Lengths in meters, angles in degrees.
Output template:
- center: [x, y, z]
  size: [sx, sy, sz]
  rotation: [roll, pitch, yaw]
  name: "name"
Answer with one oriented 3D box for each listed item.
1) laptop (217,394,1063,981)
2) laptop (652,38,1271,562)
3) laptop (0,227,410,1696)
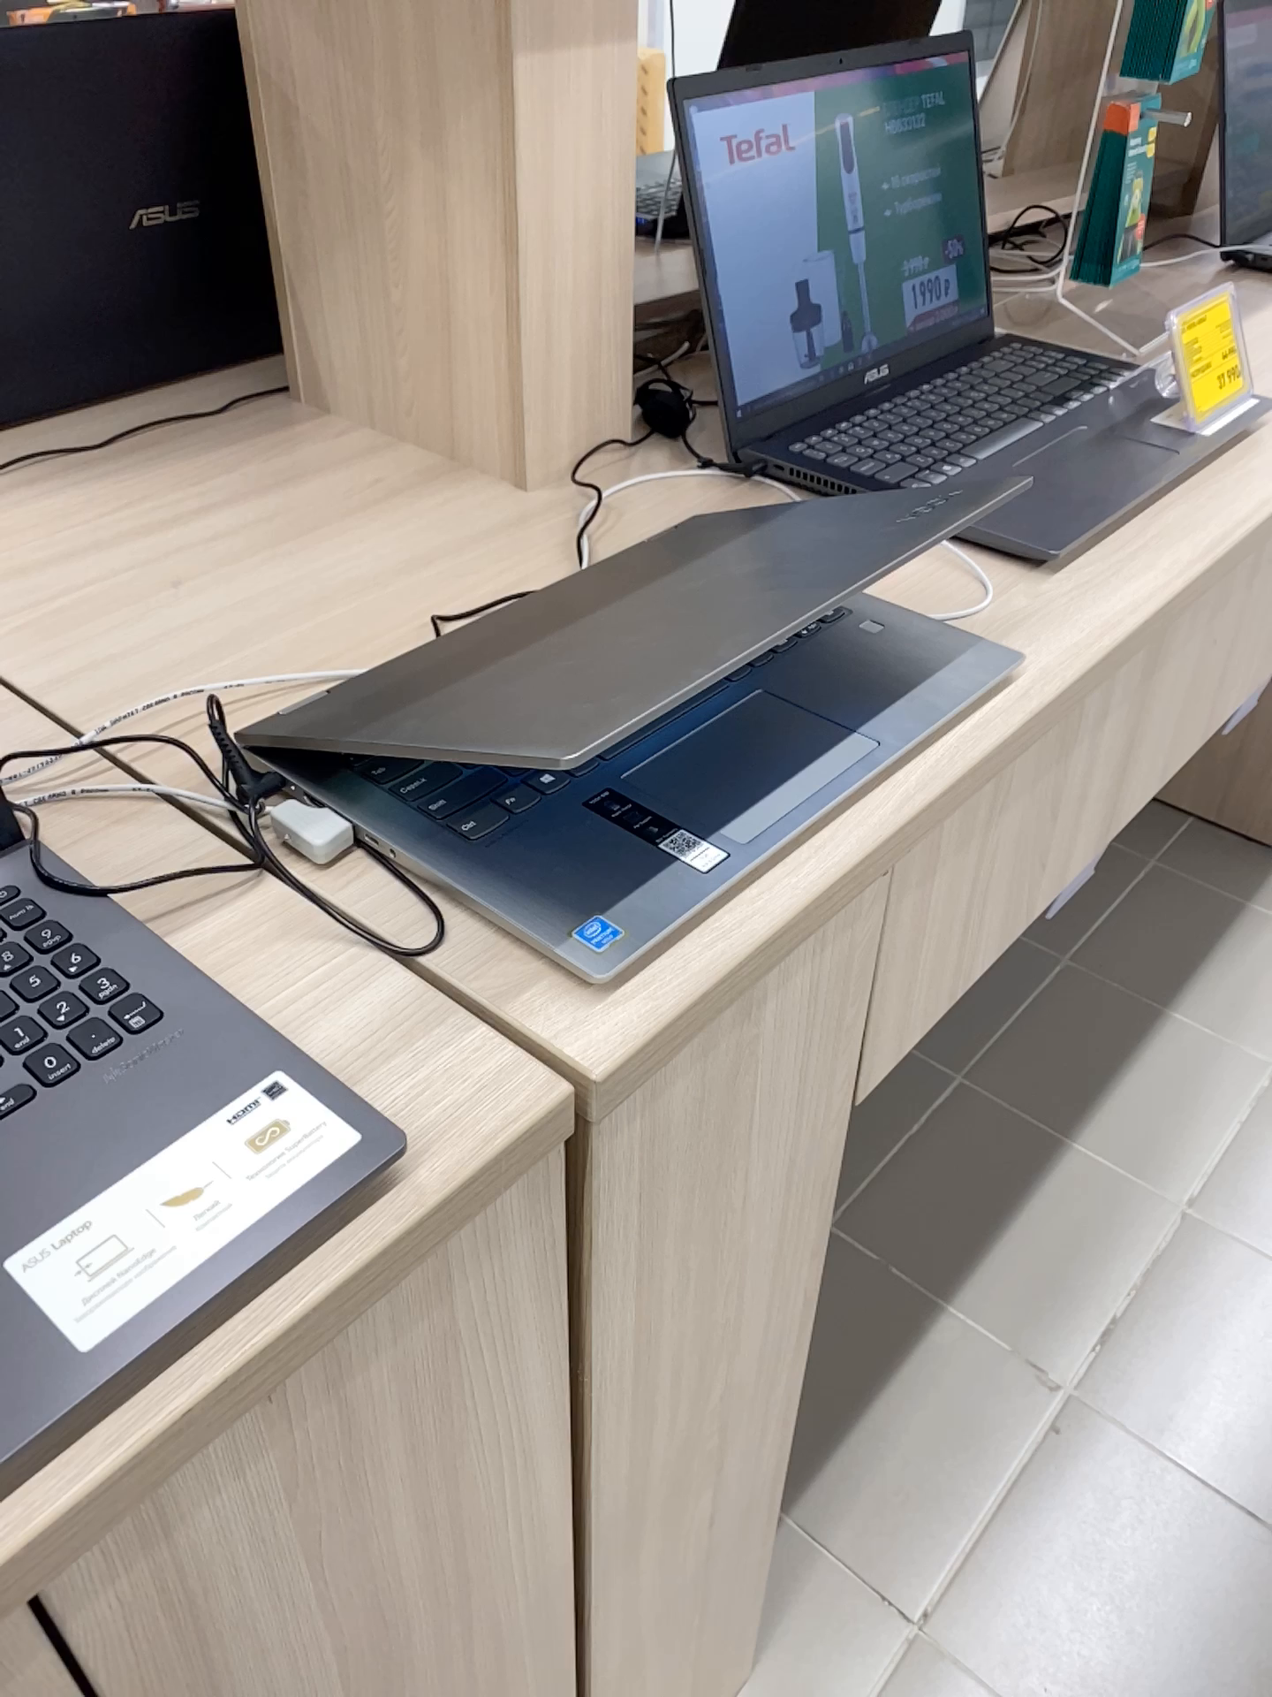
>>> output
- center: [0.015, -0.104, 0.603]
  size: [0.218, 0.082, 0.326]
  rotation: [30, 45, 31]
  name: "laptop"
- center: [0.257, -0.404, 0.894]
  size: [0.303, 0.215, 0.390]
  rotation: [27, 43, 28]
  name: "laptop"
- center: [-0.297, 0.019, 0.309]
  size: [0.308, 0.212, 0.353]
  rotation: [29, 44, 31]
  name: "laptop"
